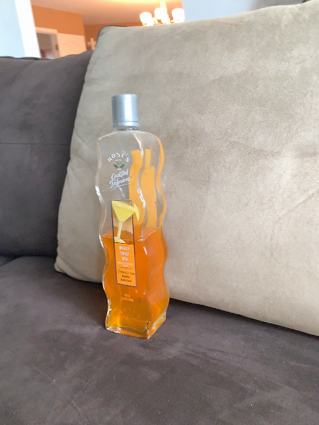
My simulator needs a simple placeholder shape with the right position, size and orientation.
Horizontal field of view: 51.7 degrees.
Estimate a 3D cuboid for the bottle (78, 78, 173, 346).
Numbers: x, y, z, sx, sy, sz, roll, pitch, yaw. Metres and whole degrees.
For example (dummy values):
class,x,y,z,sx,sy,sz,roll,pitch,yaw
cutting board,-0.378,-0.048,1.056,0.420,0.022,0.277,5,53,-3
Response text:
class,x,y,z,sx,sy,sz,roll,pitch,yaw
bottle,-0.037,0.000,0.415,0.080,0.299,0.080,-1,9,0
